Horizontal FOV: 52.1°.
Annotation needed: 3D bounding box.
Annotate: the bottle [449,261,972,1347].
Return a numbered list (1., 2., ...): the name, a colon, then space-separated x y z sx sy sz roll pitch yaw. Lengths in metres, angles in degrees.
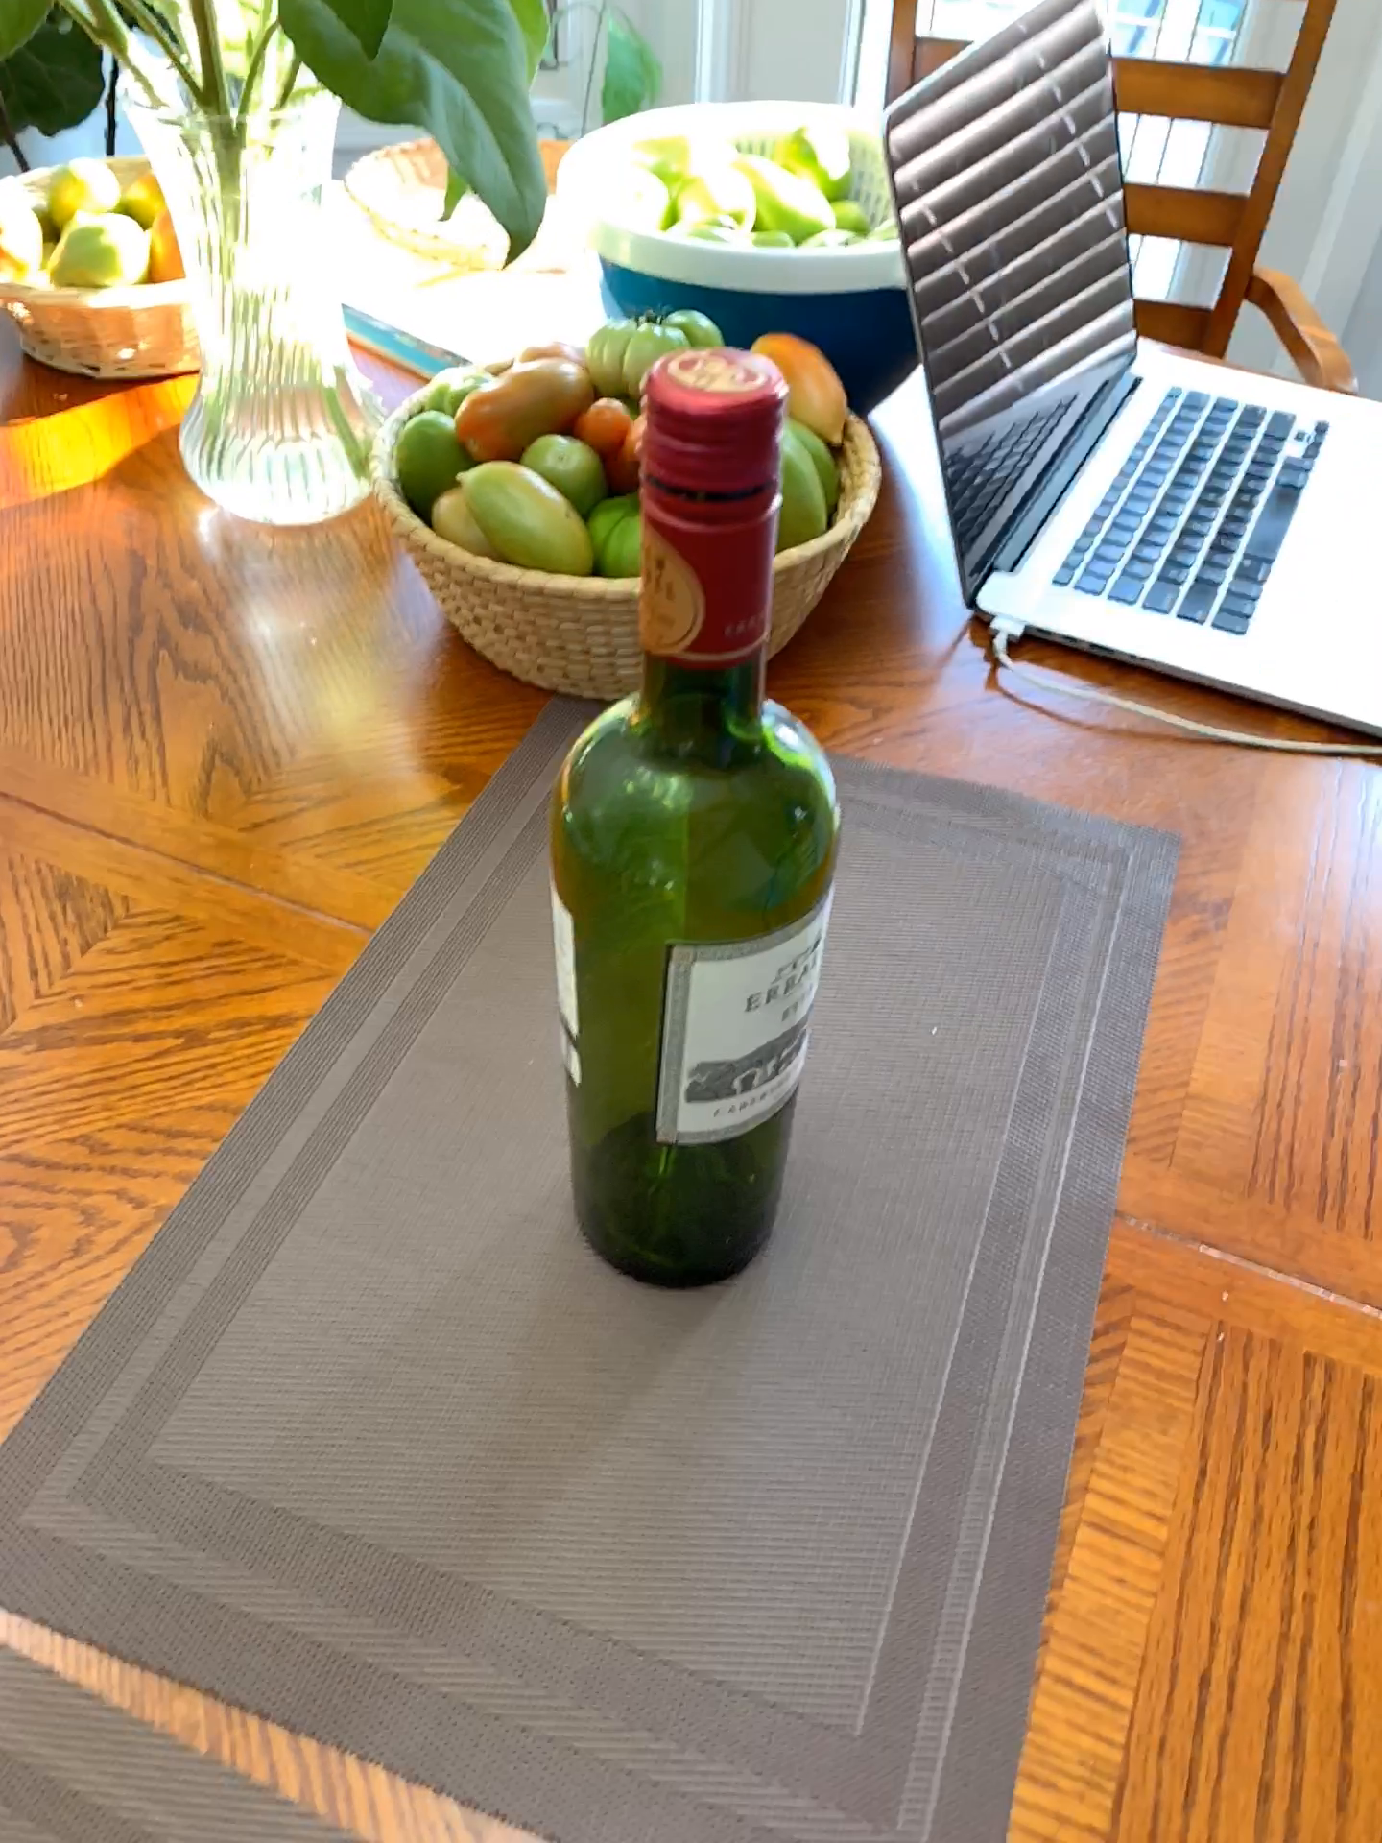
1. bottle: 0.001 -0.008 0.407 0.080 0.307 0.091 20 47 16
